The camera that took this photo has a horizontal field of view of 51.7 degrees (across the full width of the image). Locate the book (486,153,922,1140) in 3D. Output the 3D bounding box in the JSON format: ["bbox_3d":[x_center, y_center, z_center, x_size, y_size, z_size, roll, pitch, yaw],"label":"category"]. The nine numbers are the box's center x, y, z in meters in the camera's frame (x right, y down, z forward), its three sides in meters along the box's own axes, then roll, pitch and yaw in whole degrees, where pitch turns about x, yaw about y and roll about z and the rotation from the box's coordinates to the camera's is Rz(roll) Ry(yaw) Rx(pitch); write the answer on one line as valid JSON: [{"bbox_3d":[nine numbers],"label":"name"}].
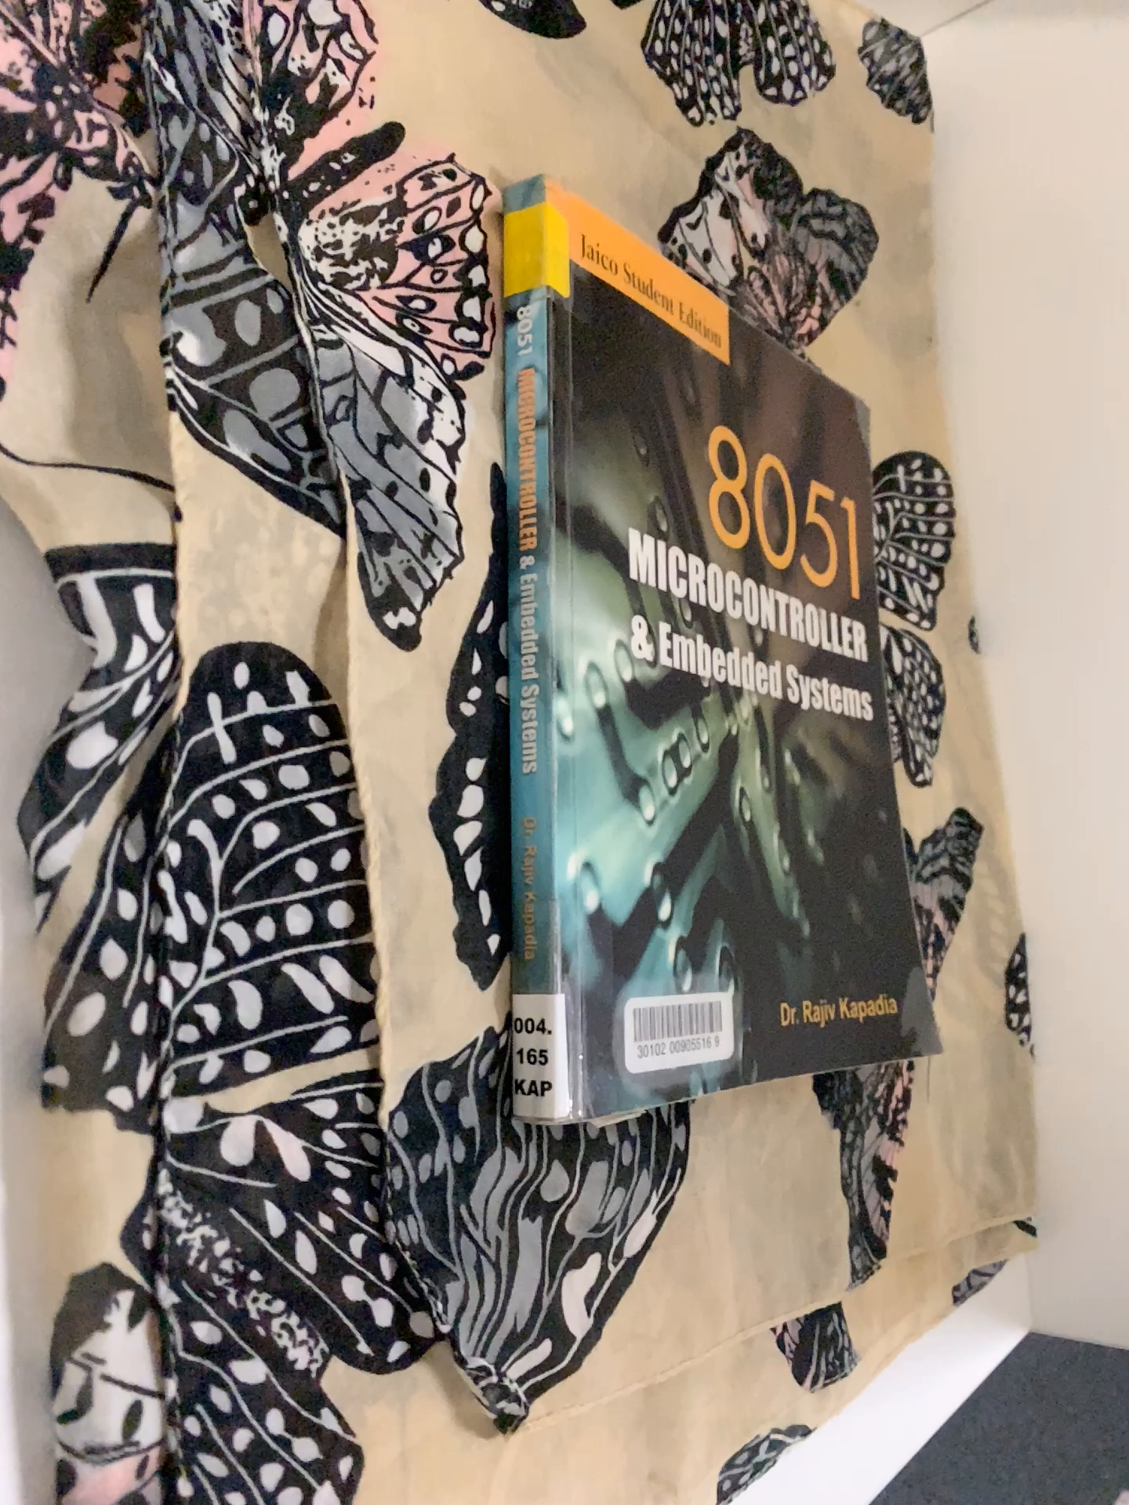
[{"bbox_3d":[0.050,-0.022,0.346,0.184,0.020,0.236,10,76,-49],"label":"book"}]
